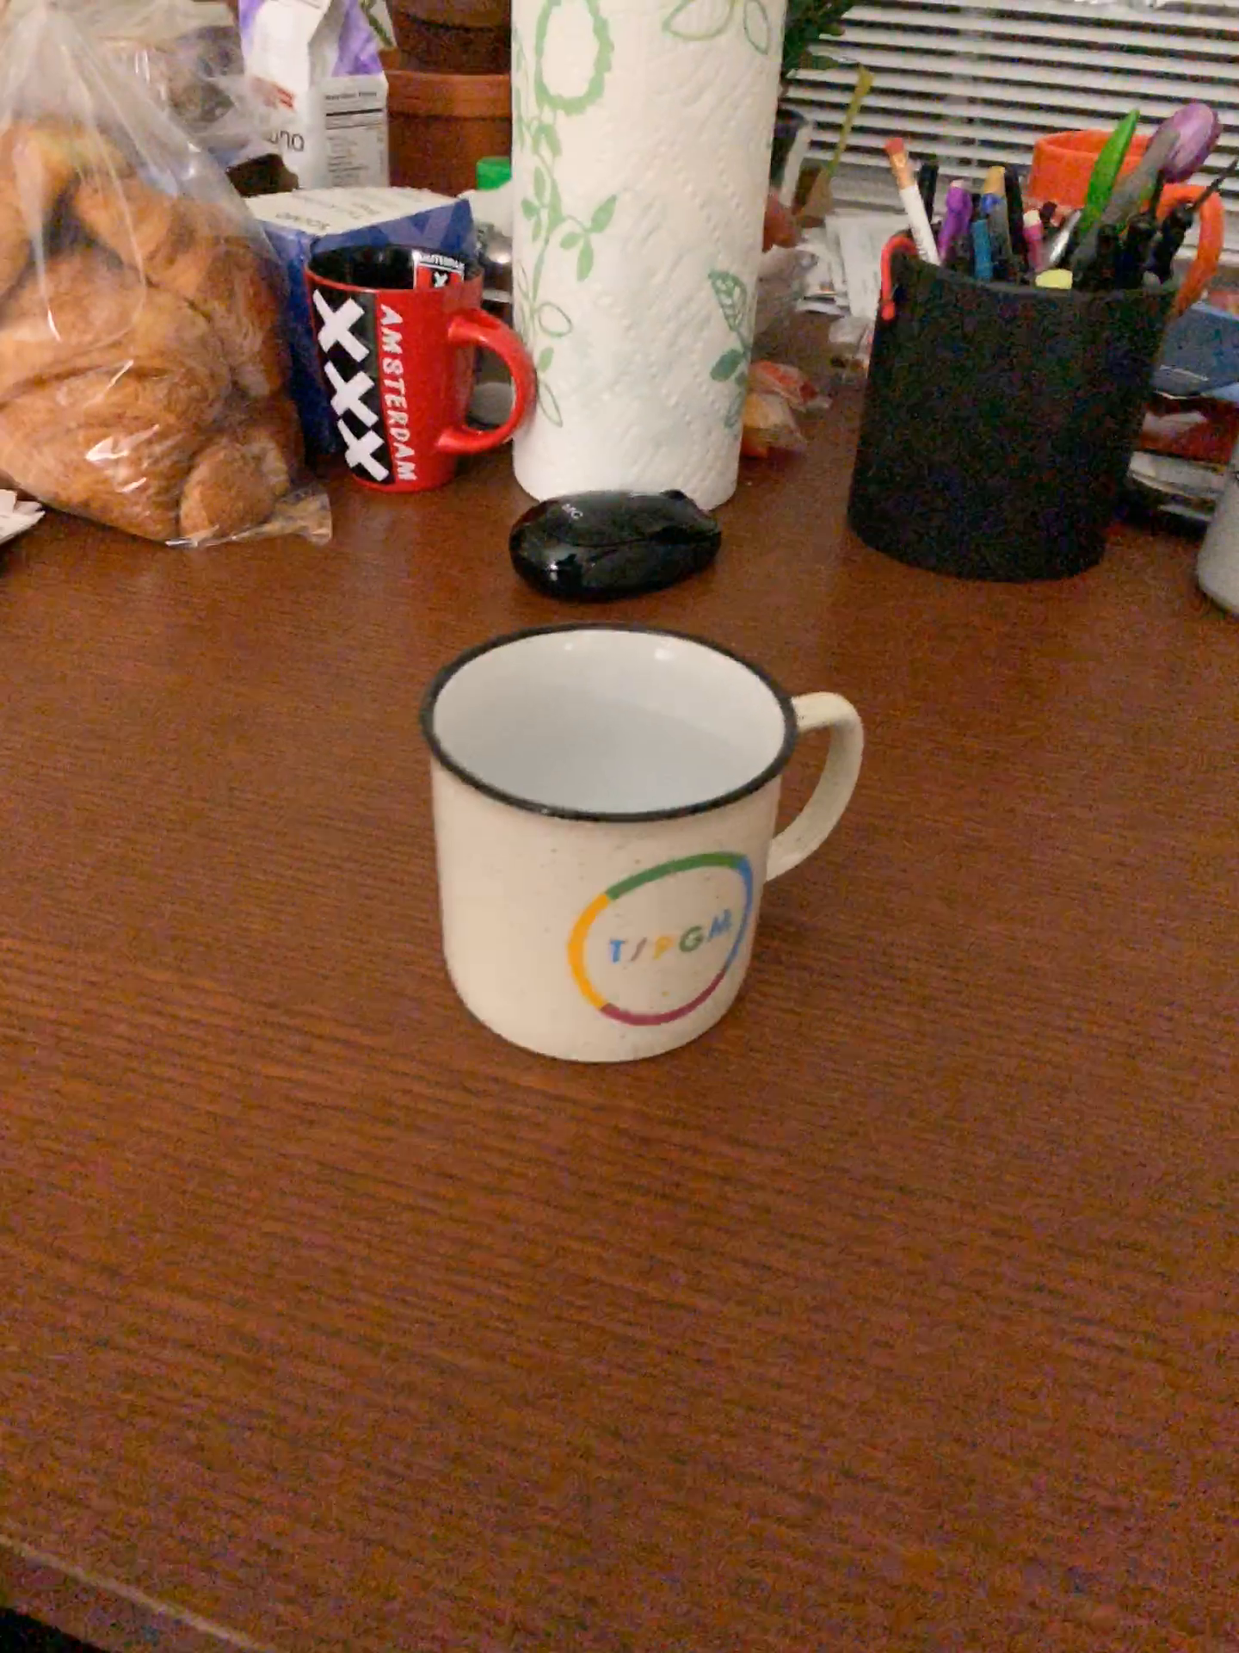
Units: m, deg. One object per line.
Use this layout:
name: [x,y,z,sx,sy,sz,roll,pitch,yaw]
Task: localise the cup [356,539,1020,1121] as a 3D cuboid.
cup: [0.014,-0.007,0.373,0.150,0.099,0.101,-14,40,-22]
